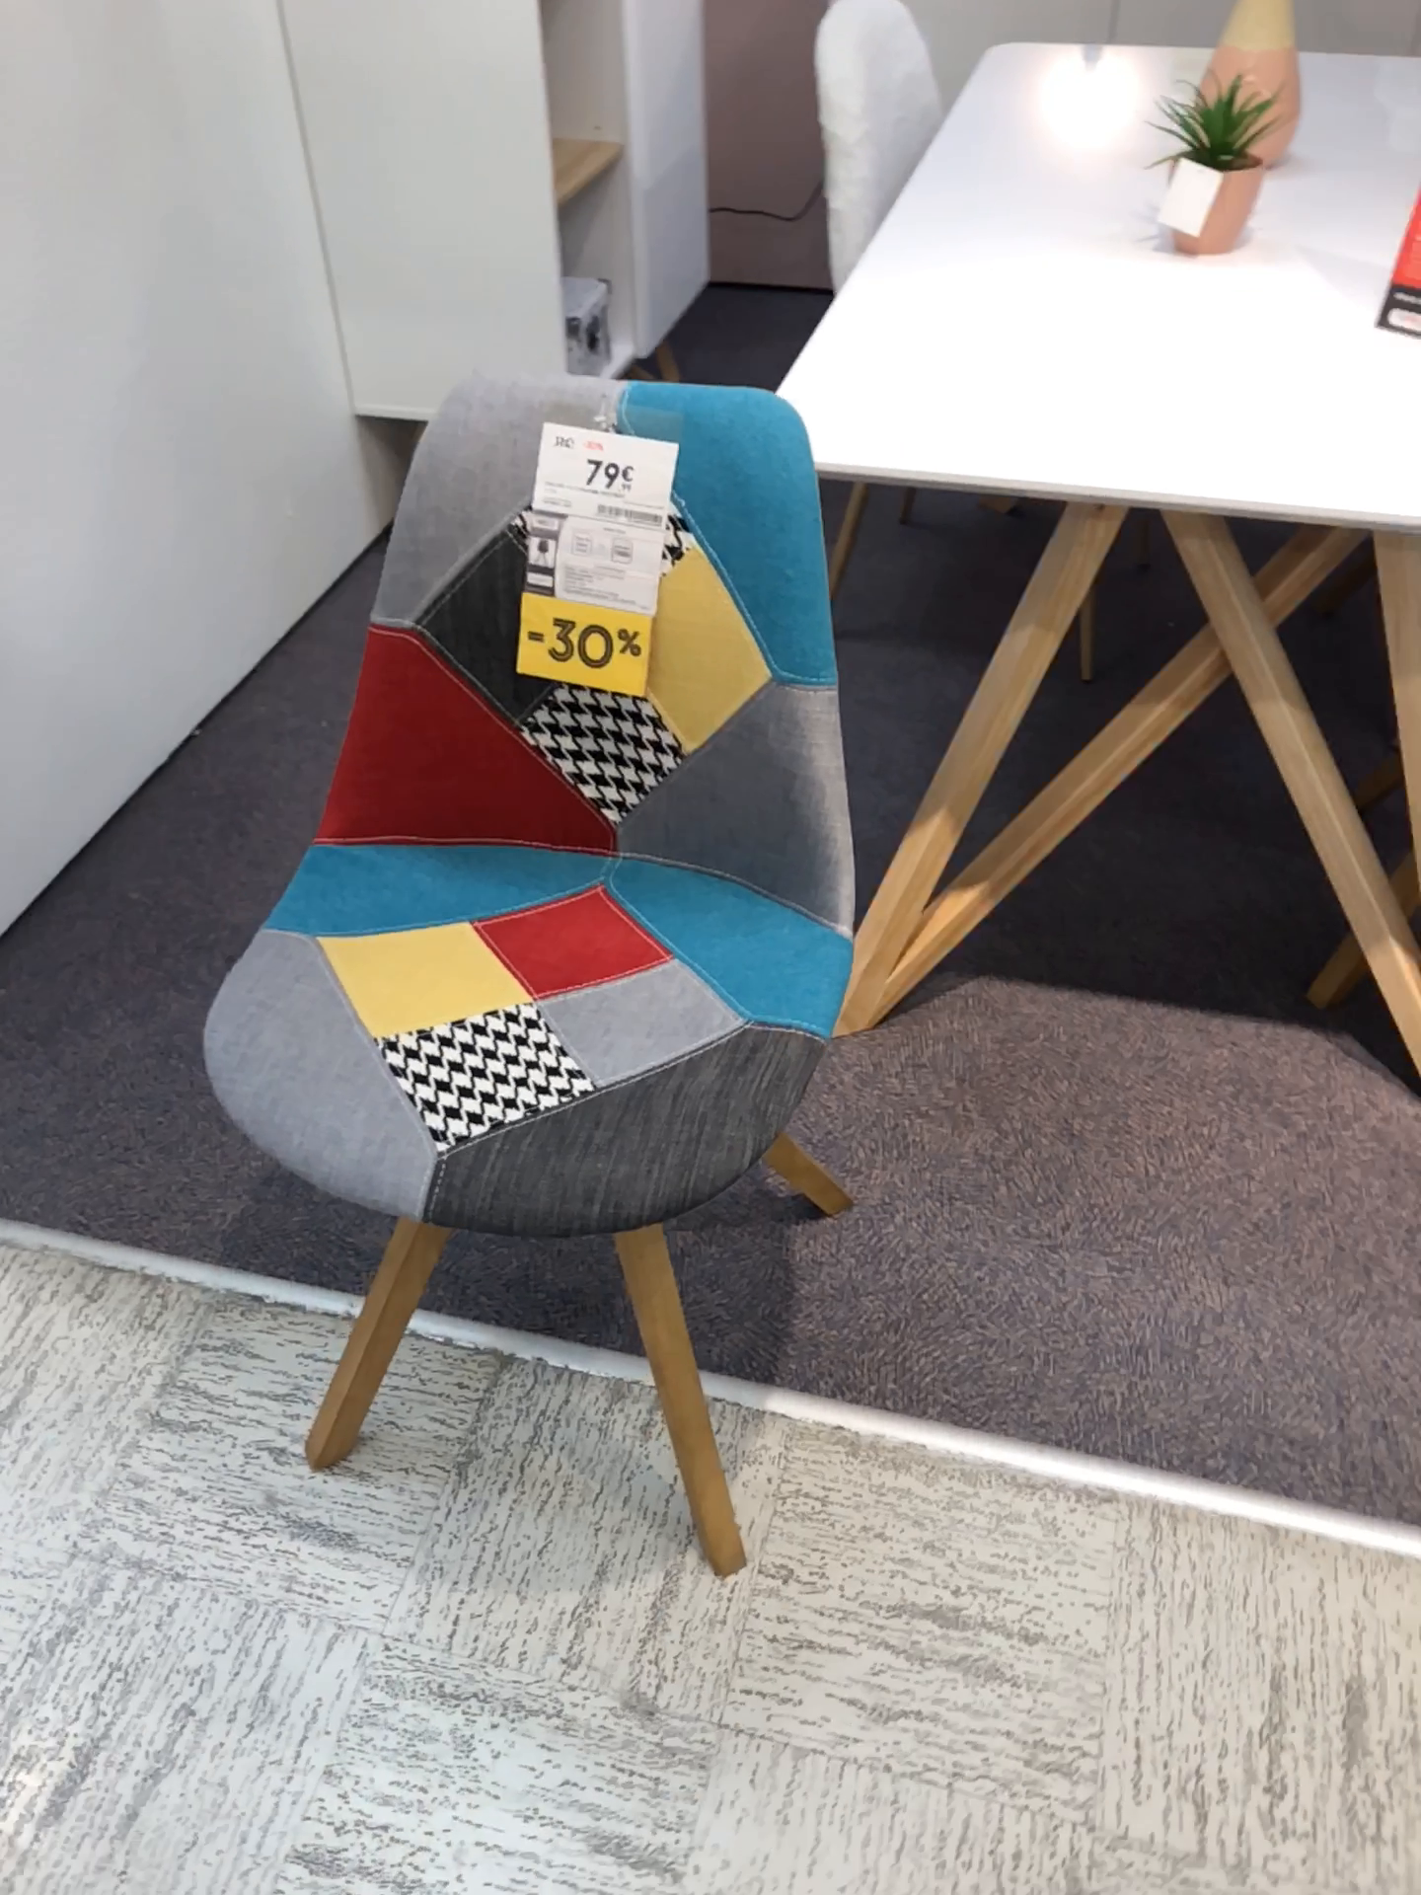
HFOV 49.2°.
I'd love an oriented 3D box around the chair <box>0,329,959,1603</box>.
[{"bbox_3d":[-0.104,0.027,1.234,0.470,0.815,0.513,8,42,12],"label":"chair"}]
